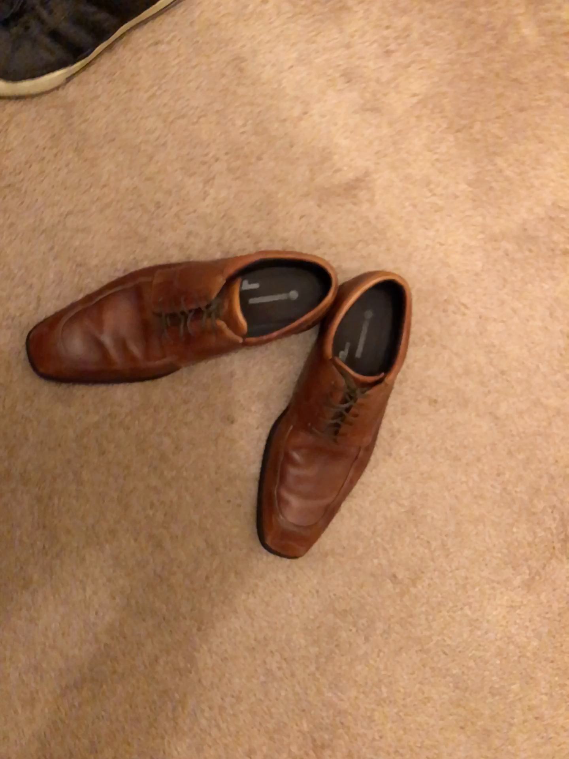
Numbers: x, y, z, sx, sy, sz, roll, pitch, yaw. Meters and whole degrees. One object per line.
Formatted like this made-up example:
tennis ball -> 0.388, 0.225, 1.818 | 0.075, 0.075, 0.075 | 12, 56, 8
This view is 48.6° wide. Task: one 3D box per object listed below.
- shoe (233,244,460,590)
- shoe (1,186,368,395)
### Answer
shoe -> 0.056, 0.034, 0.630 | 0.100, 0.110, 0.300 | 22, 84, -9
shoe -> -0.091, -0.082, 0.617 | 0.300, 0.120, 0.120 | -15, 91, -11
